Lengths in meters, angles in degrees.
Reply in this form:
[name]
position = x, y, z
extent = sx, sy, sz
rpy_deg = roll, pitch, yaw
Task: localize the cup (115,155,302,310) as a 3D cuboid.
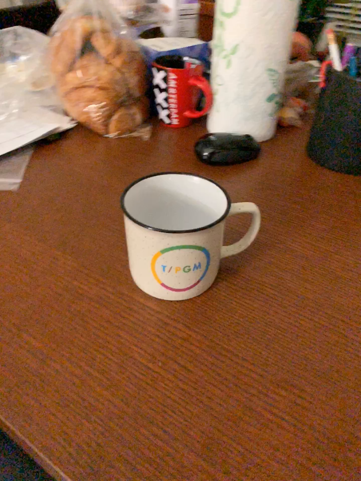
[cup]
position = 0.017, -0.011, 0.365
extent = 0.150, 0.099, 0.101
rpy_deg = -5, 40, -9
